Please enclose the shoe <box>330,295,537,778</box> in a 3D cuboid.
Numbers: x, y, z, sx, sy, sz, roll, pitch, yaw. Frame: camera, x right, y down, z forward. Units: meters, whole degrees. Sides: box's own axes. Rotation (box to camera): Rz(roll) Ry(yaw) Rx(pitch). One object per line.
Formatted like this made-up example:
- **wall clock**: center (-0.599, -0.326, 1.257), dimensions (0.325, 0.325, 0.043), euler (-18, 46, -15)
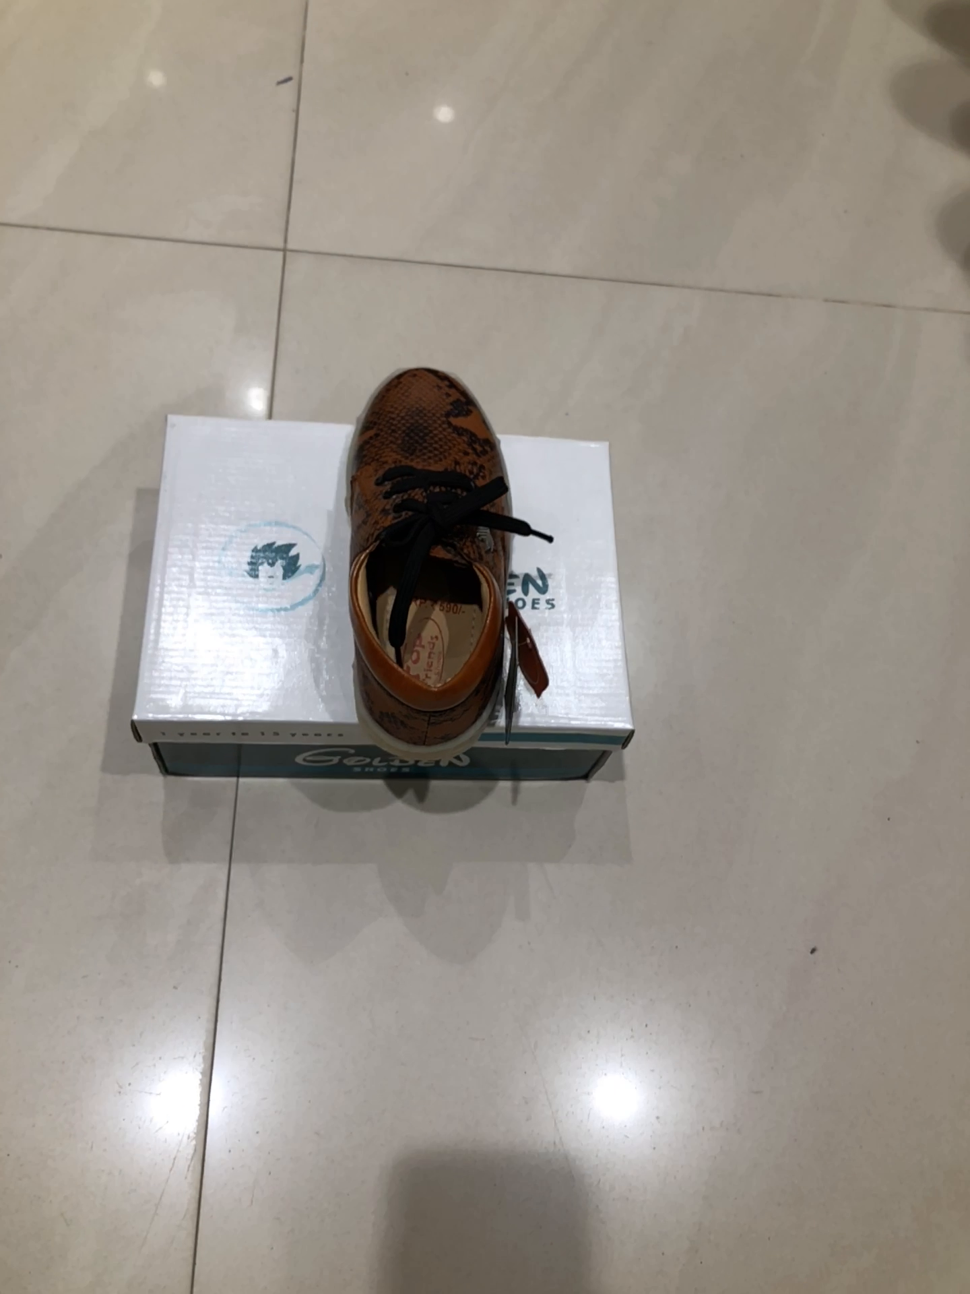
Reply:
- **shoe**: center (-0.026, -0.050, 0.496), dimensions (0.080, 0.090, 0.201), euler (2, 65, -7)
